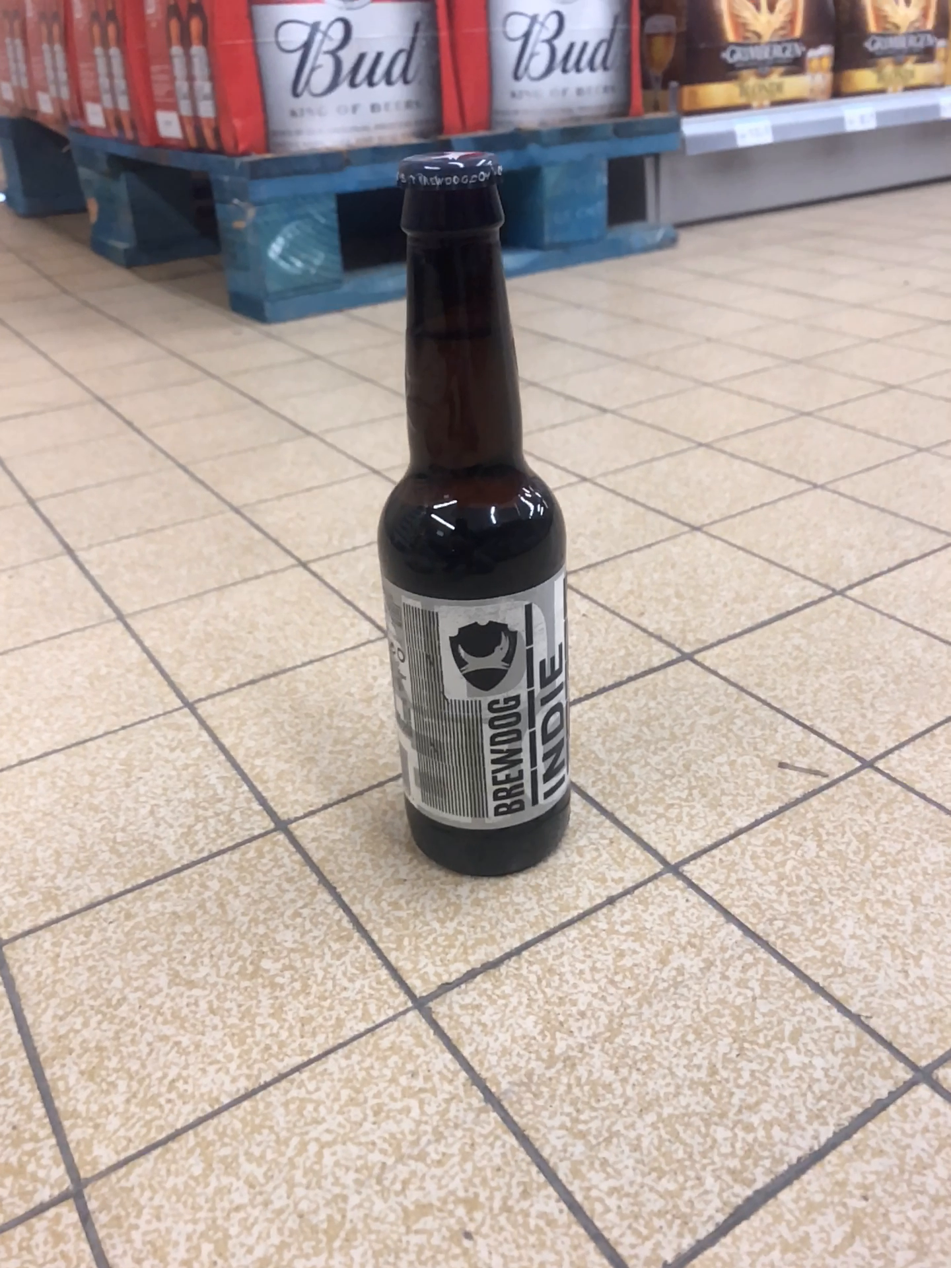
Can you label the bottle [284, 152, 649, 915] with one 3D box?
[{"bbox_3d":[0.004,-0.029,0.336,0.070,0.222,0.070,-3,28,1],"label":"bottle"}]
